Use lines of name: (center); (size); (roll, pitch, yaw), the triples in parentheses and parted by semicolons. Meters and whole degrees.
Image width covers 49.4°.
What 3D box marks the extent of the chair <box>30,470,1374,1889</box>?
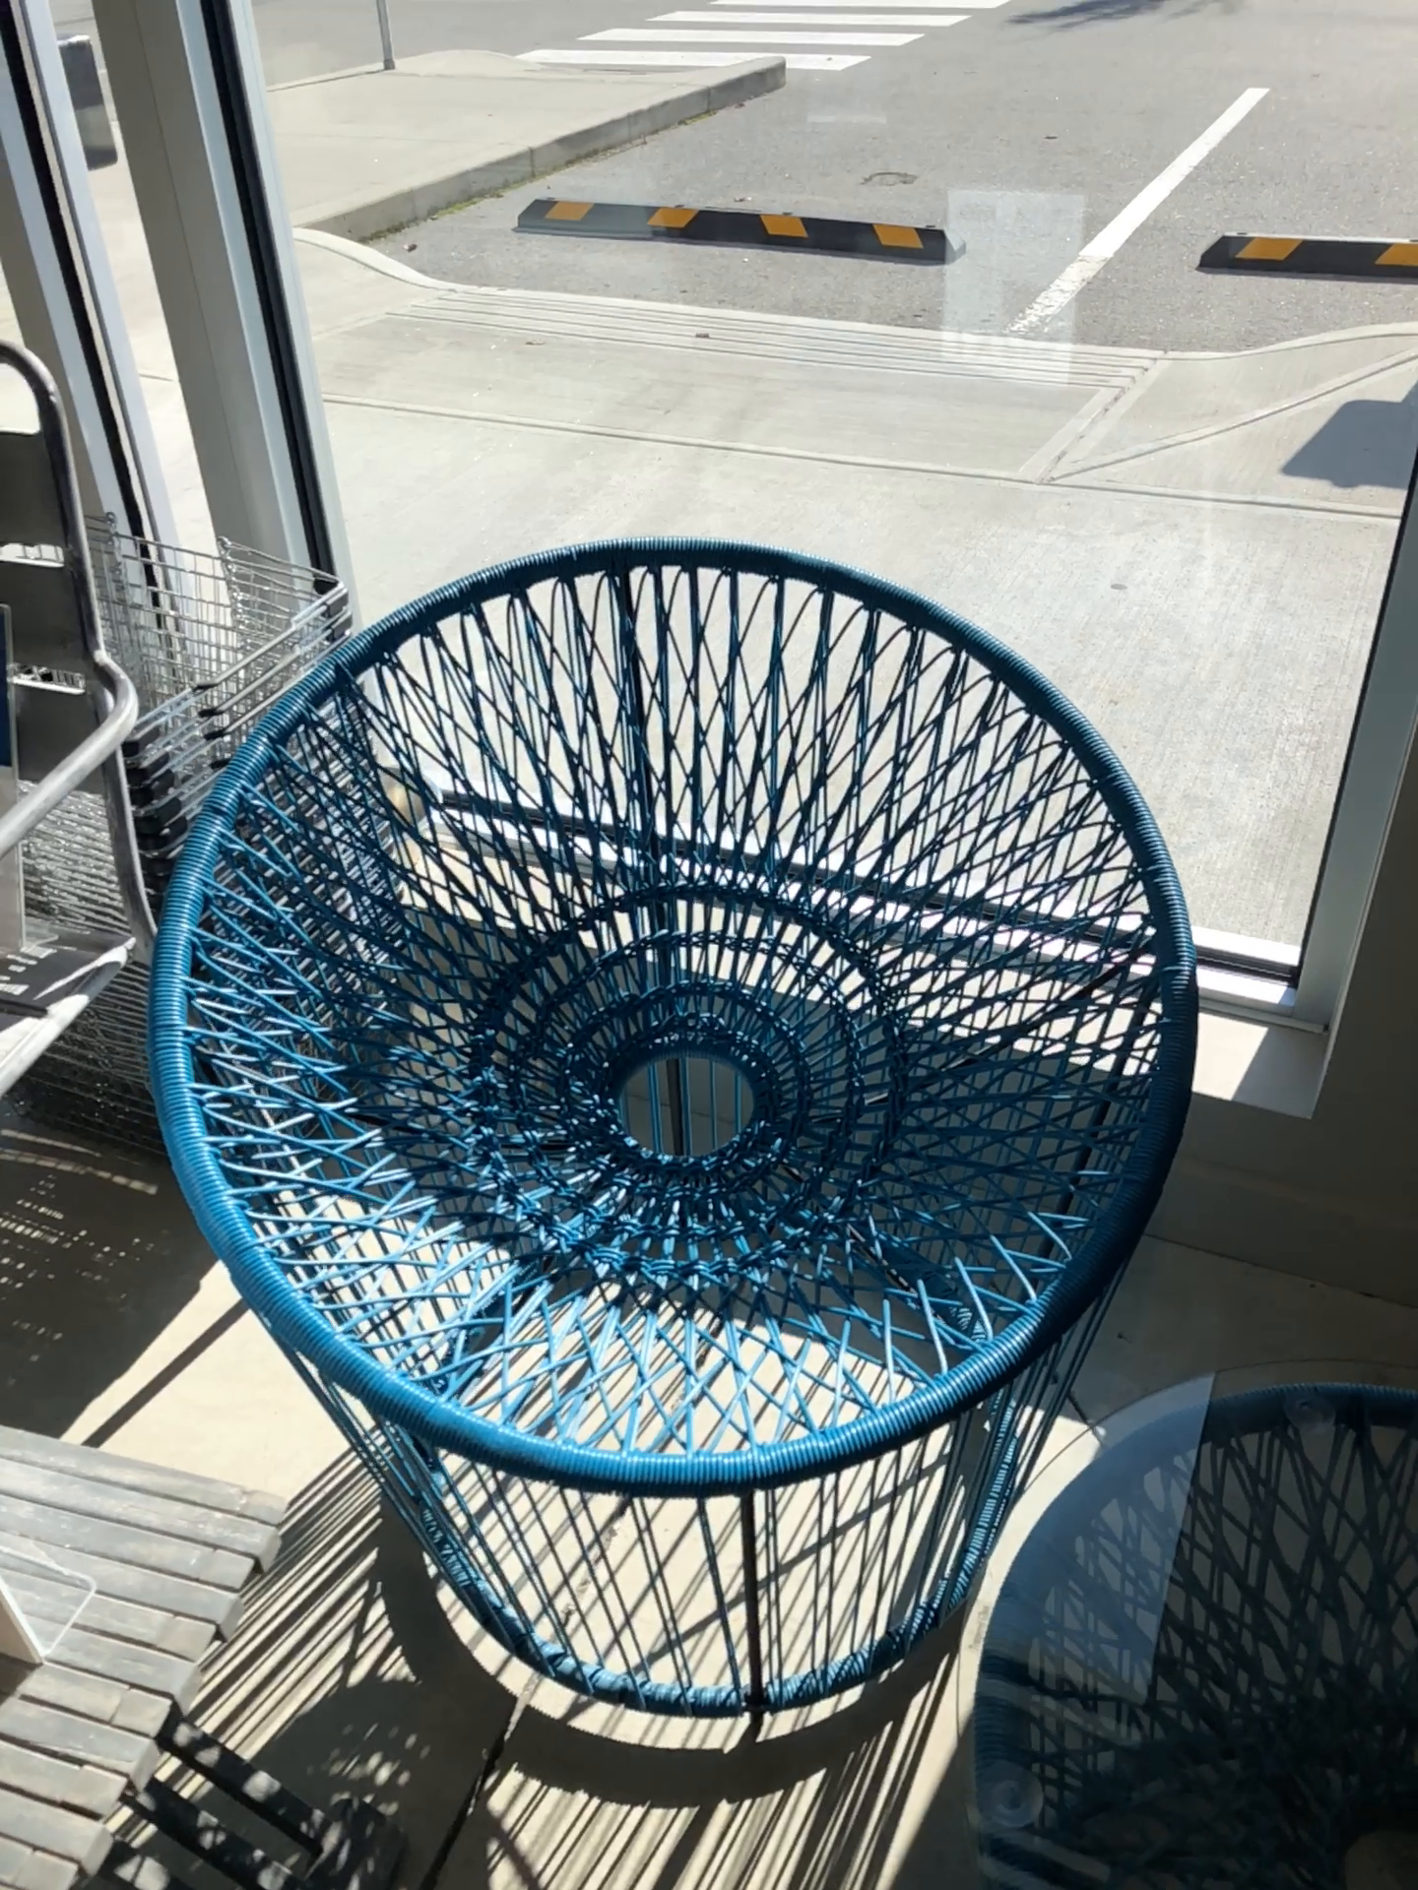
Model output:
chair: (-0.026, 0.213, 1.369); (0.720, 0.993, 0.664); (-8, 36, -7)
